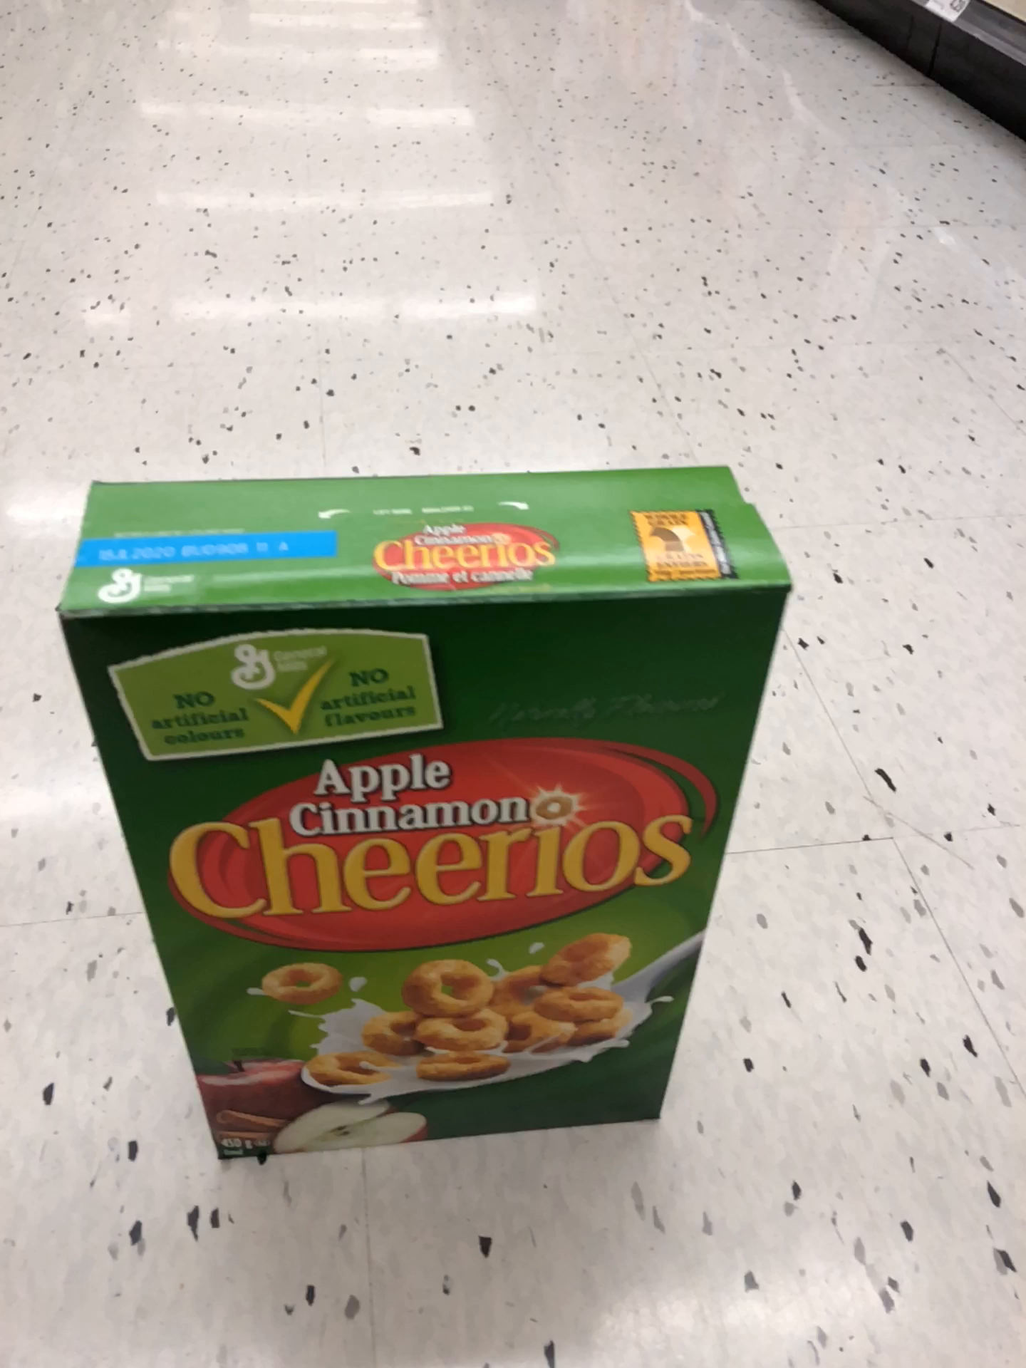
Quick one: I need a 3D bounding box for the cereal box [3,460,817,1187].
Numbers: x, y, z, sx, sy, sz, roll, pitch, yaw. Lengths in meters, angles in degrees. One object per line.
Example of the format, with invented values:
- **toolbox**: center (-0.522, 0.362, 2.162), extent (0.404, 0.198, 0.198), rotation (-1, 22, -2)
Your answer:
- **cereal box**: center (-0.029, 0.066, 0.378), extent (0.190, 0.278, 0.060), rotation (-3, 42, -7)
